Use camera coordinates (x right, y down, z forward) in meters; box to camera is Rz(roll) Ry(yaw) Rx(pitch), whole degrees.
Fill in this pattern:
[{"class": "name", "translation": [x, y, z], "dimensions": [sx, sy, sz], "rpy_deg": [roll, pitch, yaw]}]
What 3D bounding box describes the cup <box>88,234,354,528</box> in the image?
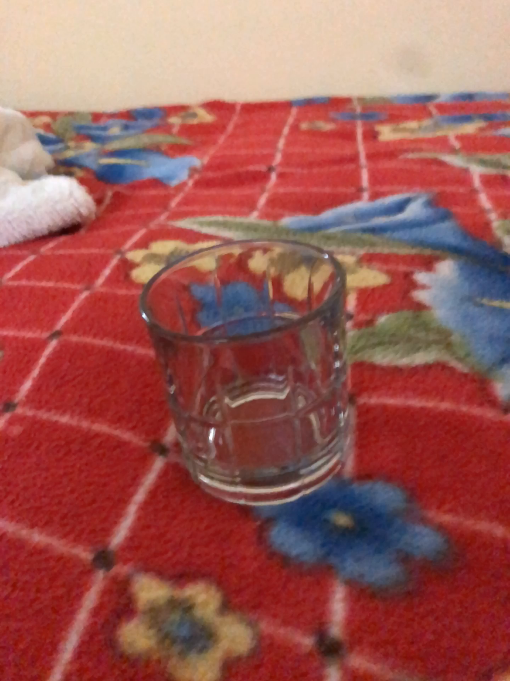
[{"class": "cup", "translation": [-0.003, 0.013, 0.246], "dimensions": [0.083, 0.088, 0.084], "rpy_deg": [-6, 33, 4]}]
